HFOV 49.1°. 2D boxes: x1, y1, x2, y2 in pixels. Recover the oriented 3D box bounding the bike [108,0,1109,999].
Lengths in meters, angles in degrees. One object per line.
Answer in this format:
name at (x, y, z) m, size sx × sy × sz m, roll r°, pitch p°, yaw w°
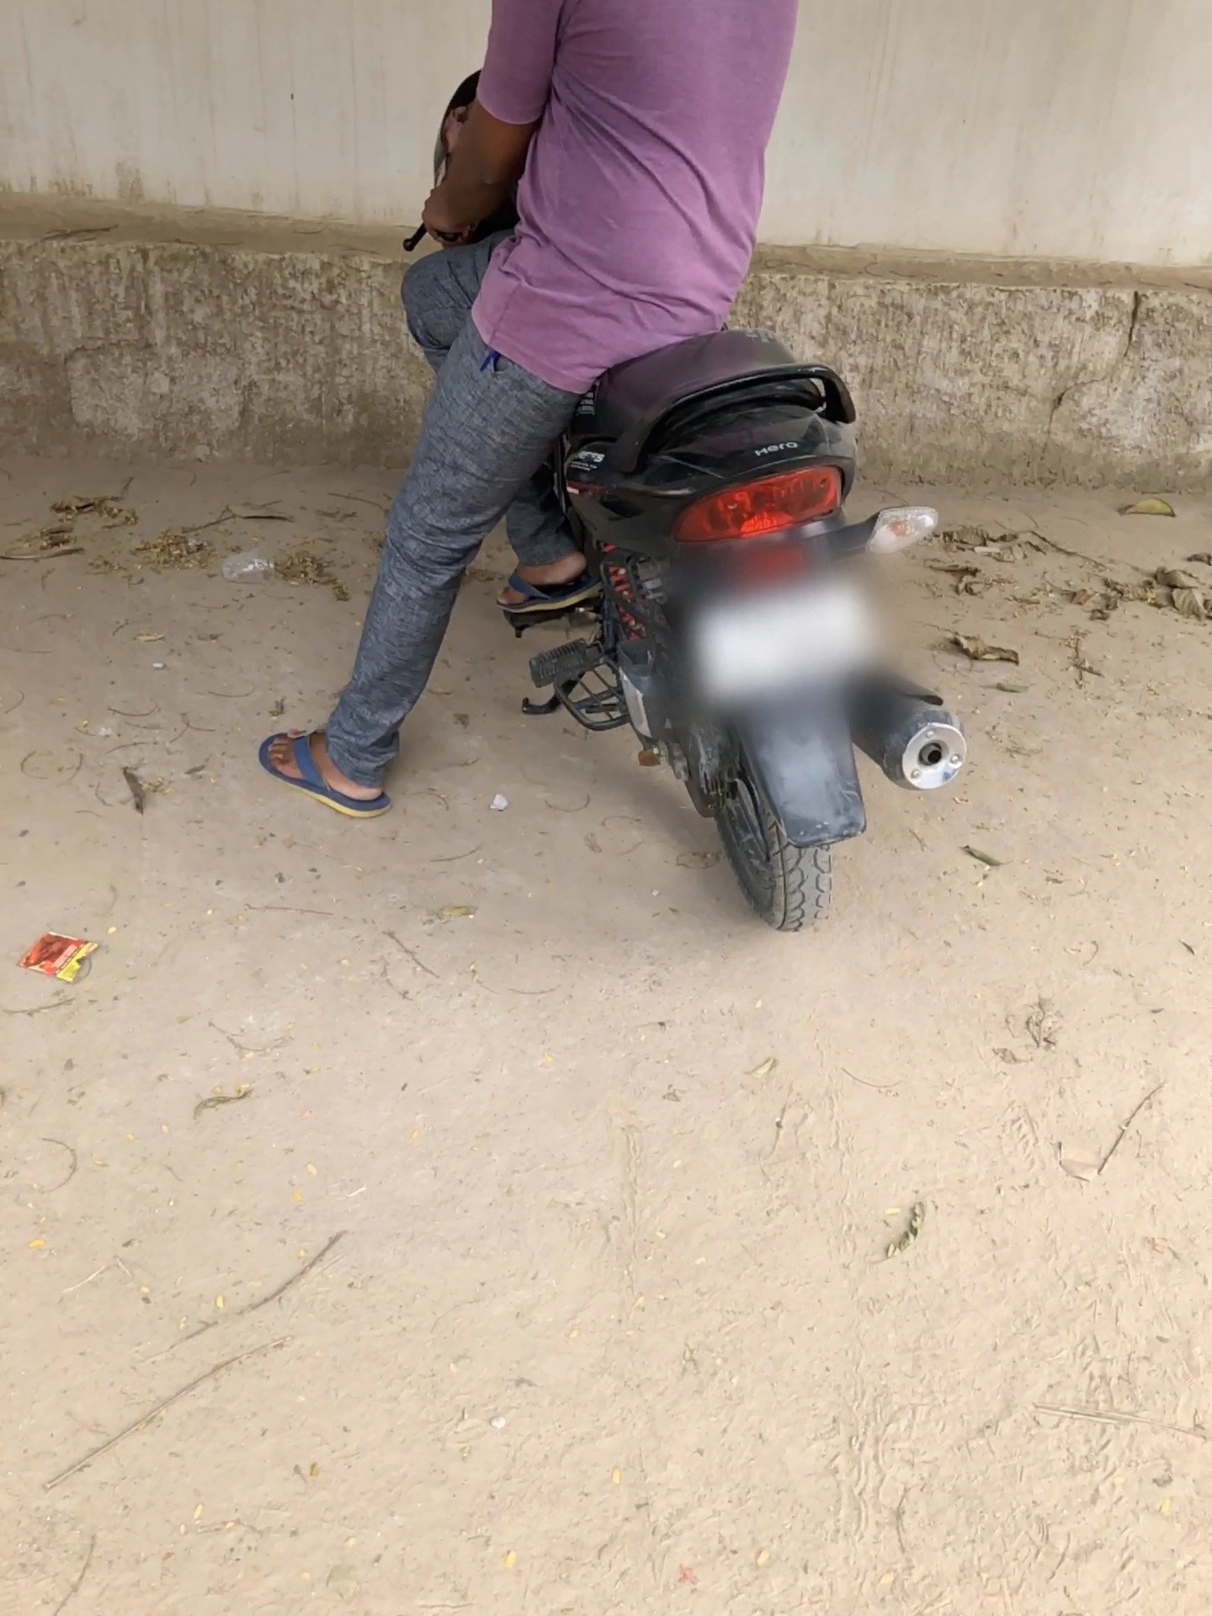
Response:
bike at (-0.208, -0.796, 2.059) m, size 0.742 × 1.086 × 1.706 m, roll -9°, pitch 38°, yaw -20°
